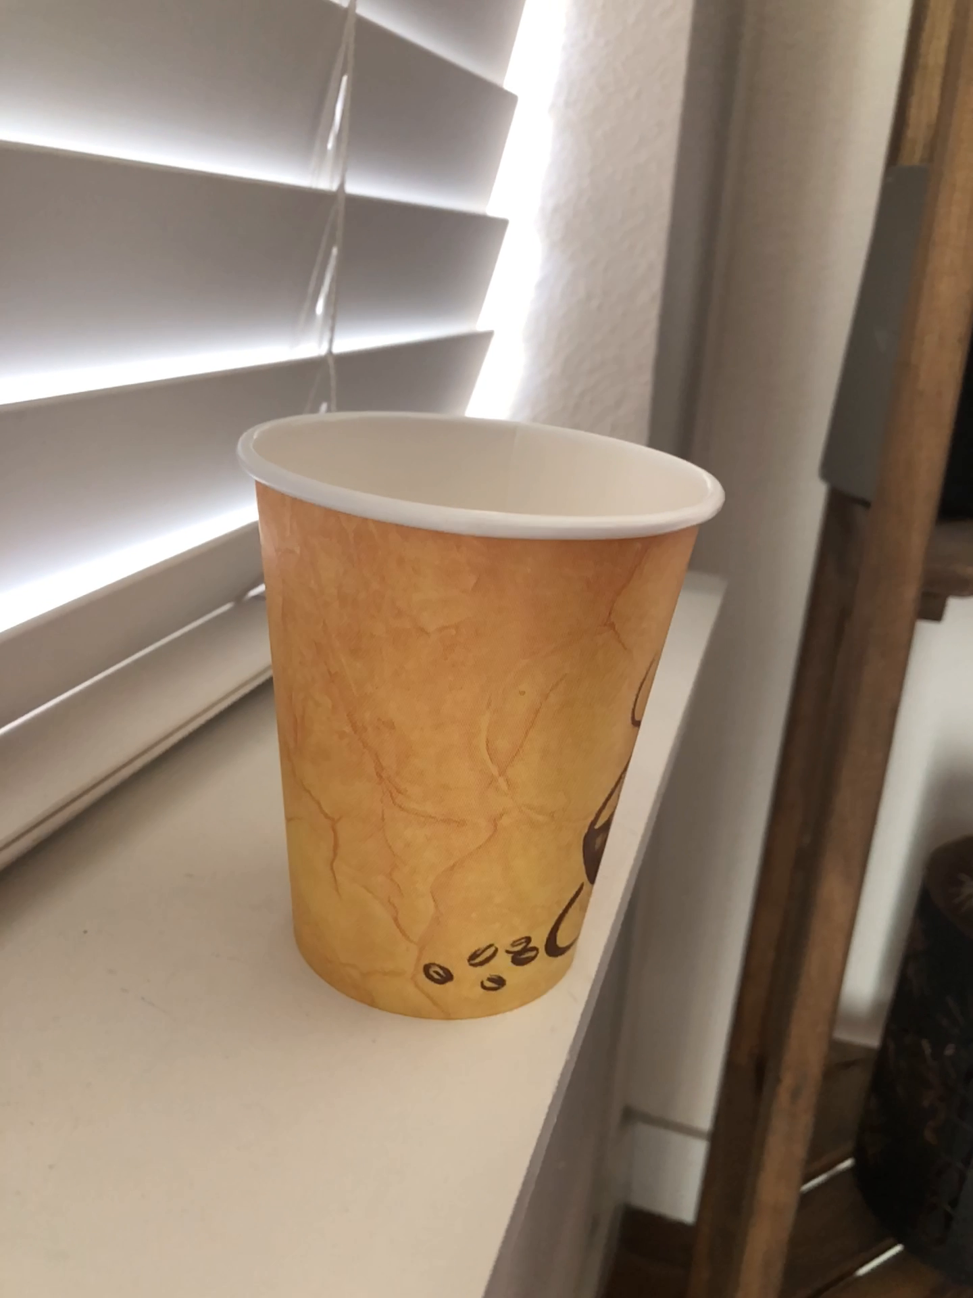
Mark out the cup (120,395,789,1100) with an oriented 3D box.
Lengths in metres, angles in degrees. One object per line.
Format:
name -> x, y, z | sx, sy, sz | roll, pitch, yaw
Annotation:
cup -> -0.001, 0.006, 0.213 | 0.093, 0.088, 0.096 | 5, 20, -2
